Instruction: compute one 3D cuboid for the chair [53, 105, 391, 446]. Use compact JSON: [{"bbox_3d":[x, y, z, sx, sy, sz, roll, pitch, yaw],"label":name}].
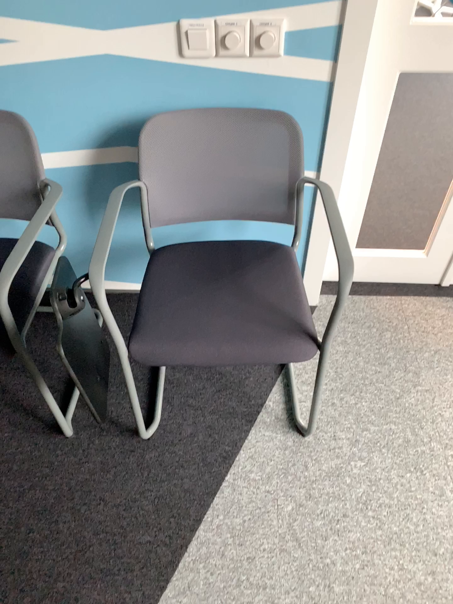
[{"bbox_3d":[-0.006,-0.065,1.228,0.570,0.627,0.643,-1,48,0],"label":"chair"}]
